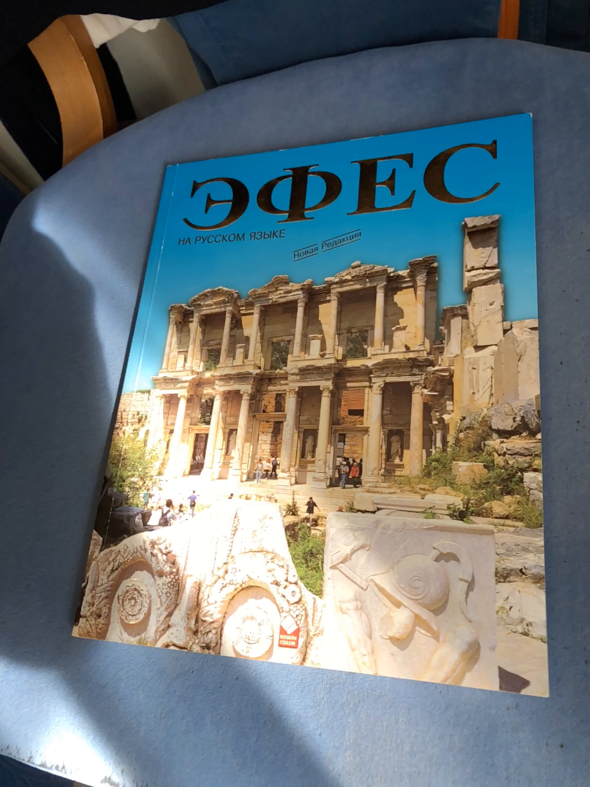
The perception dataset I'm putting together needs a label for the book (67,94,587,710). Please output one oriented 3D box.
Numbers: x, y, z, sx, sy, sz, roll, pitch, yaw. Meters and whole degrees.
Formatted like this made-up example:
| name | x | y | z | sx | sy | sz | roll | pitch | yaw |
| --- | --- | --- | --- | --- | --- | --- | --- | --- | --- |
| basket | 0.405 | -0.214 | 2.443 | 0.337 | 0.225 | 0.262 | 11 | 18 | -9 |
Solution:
| name | x | y | z | sx | sy | sz | roll | pitch | yaw |
| --- | --- | --- | --- | --- | --- | --- | --- | --- | --- |
| book | 0.013 | -0.010 | 0.283 | 0.196 | 0.020 | 0.241 | -1 | 71 | 19 |
